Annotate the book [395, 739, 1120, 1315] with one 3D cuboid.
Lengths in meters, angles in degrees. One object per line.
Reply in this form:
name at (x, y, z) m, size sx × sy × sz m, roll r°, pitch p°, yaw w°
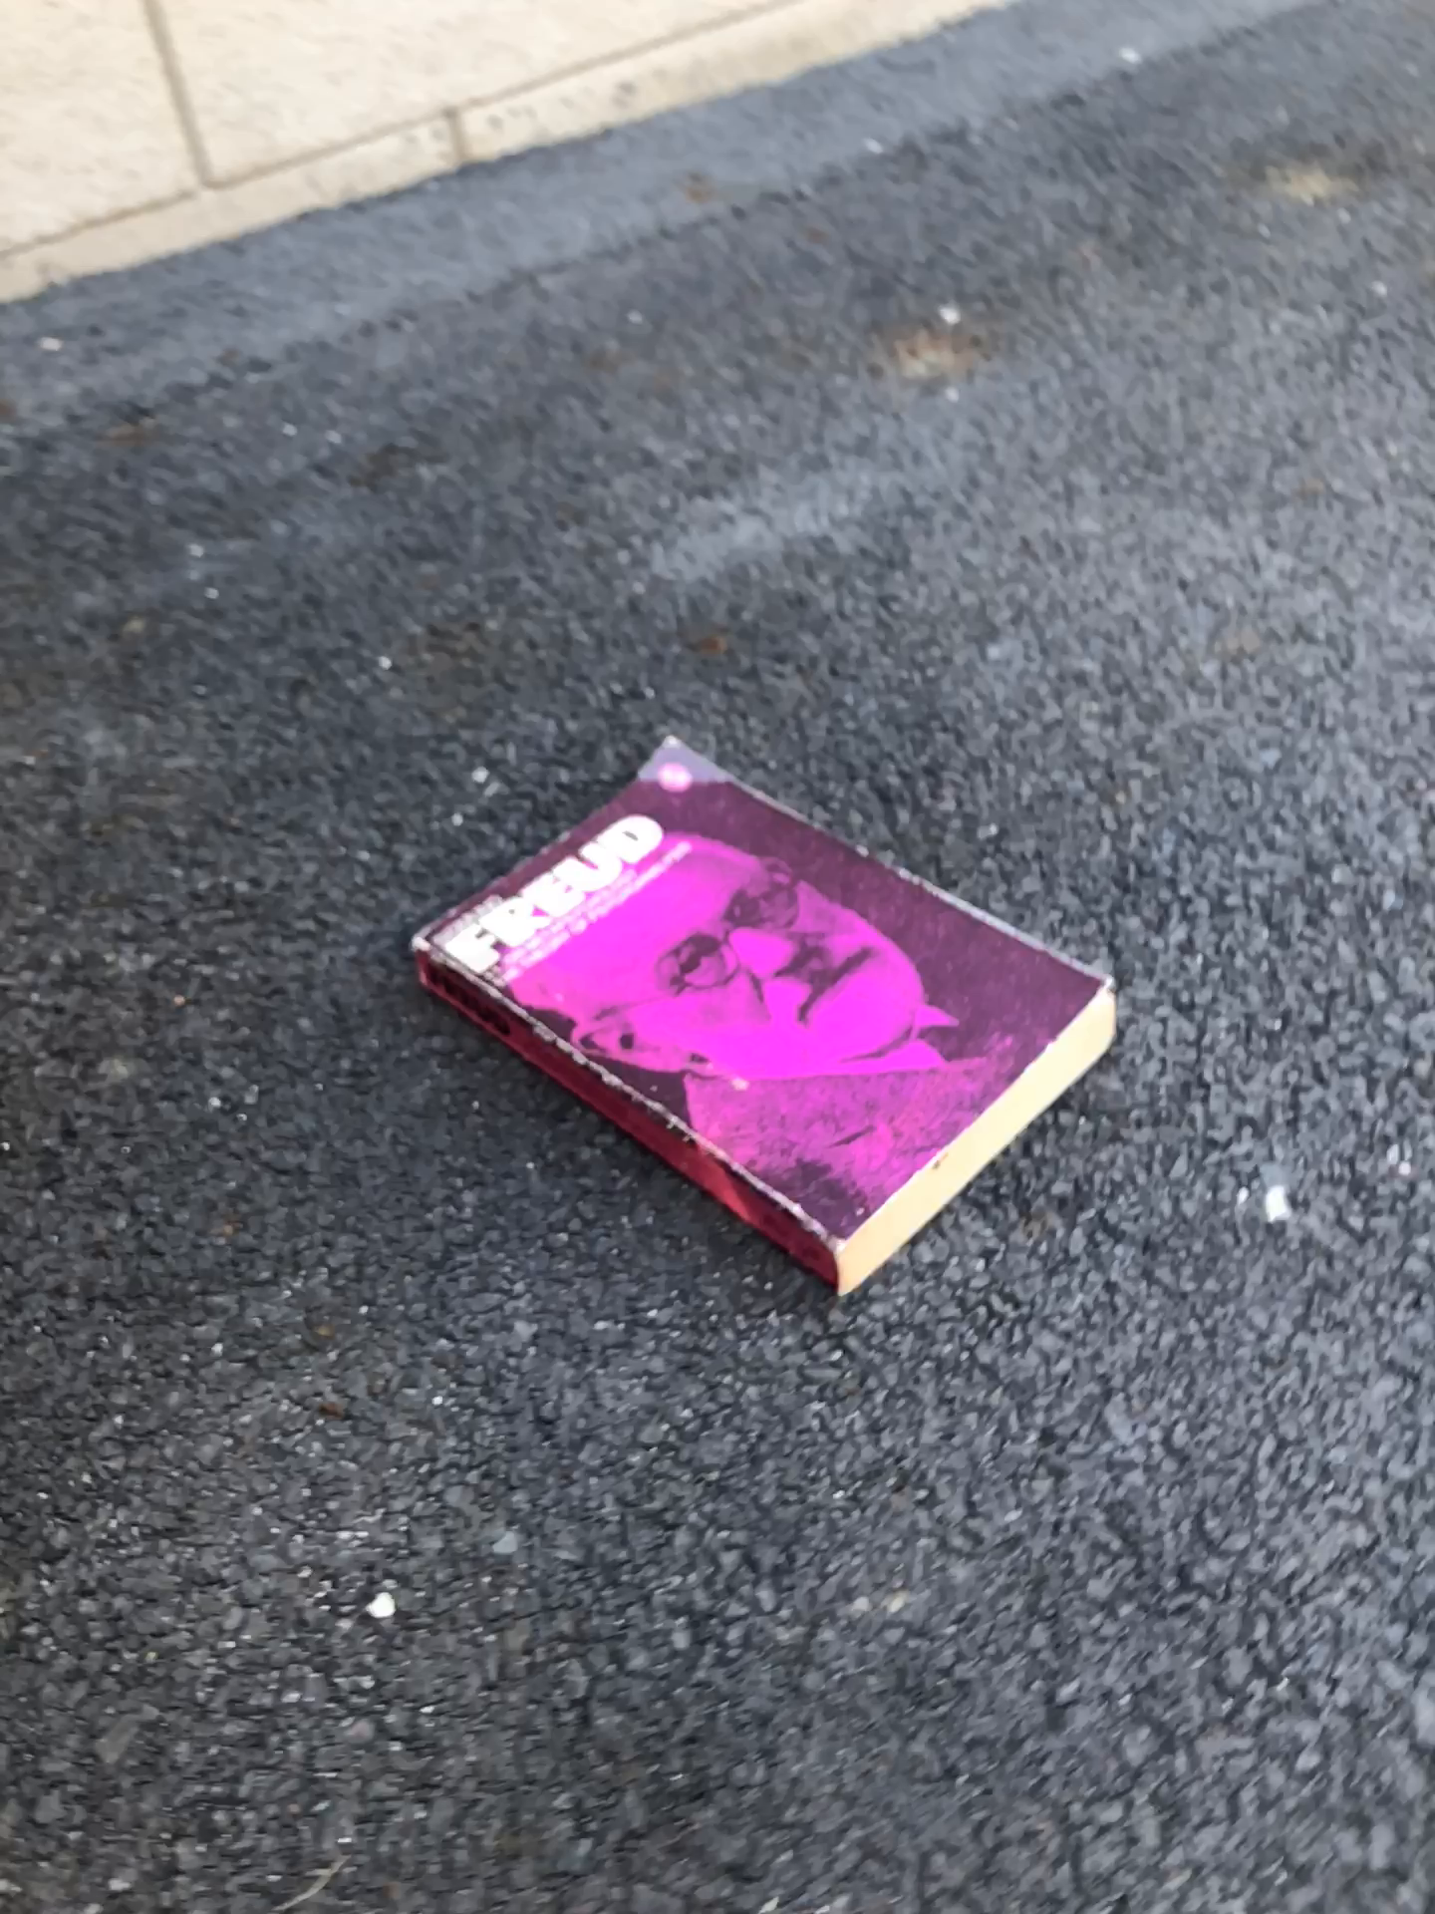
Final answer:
book at (0.009, 0.009, 0.515) m, size 0.131 × 0.031 × 0.195 m, roll -37°, pitch 51°, yaw -27°
